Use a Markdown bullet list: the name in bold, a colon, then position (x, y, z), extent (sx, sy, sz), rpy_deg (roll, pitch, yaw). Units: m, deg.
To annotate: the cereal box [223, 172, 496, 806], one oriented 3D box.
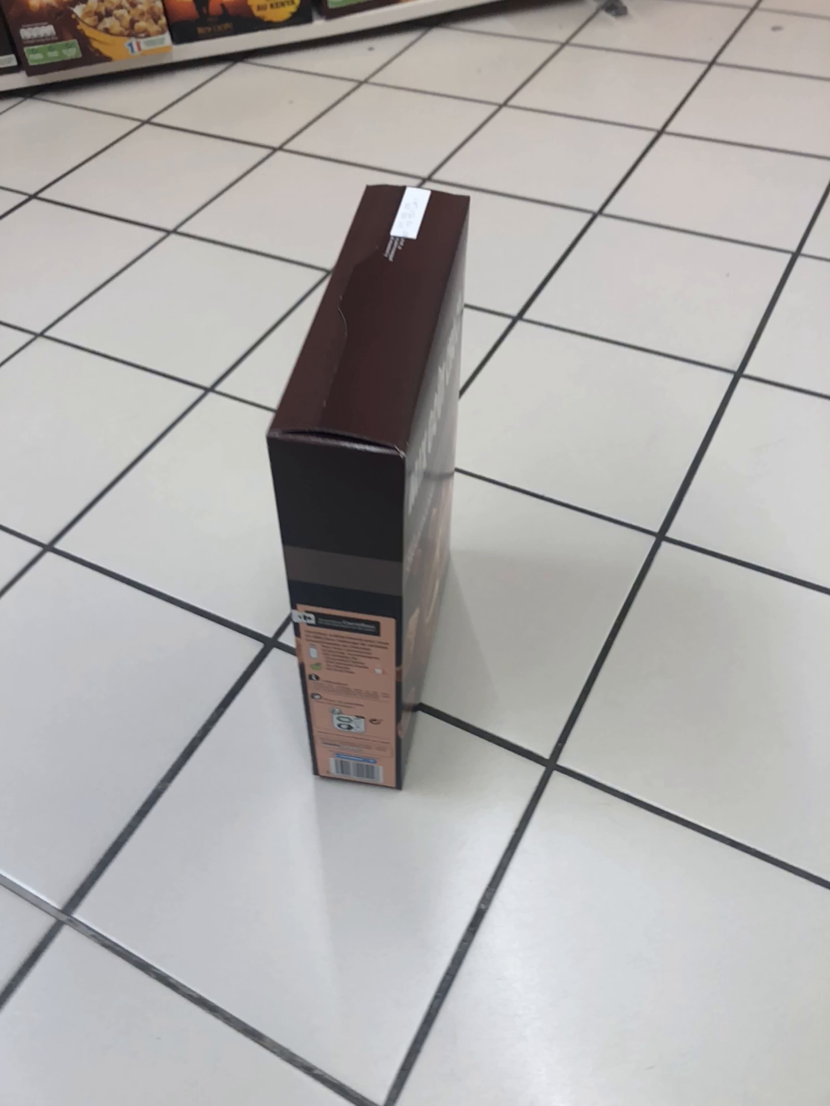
- **cereal box**: position (-0.014, -0.023, 0.491), extent (0.080, 0.268, 0.201), rpy_deg (6, 49, 6)
